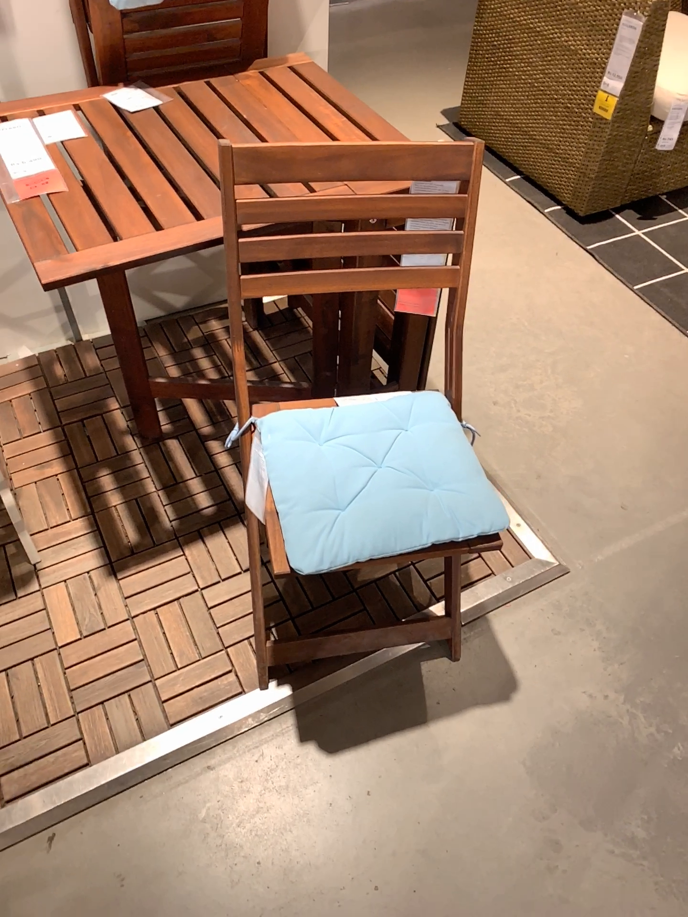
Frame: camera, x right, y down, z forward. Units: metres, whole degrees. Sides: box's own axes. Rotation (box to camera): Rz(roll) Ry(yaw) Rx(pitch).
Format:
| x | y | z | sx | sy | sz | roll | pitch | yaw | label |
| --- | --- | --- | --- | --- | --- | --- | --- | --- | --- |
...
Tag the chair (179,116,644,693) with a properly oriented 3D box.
| x | y | z | sx | sy | sz | roll | pitch | yaw | label |
| --- | --- | --- | --- | --- | --- | --- | --- | --- | --- |
| 0.026 | -0.051 | 1.168 | 0.470 | 0.777 | 0.522 | -6 | 50 | -8 | chair |
